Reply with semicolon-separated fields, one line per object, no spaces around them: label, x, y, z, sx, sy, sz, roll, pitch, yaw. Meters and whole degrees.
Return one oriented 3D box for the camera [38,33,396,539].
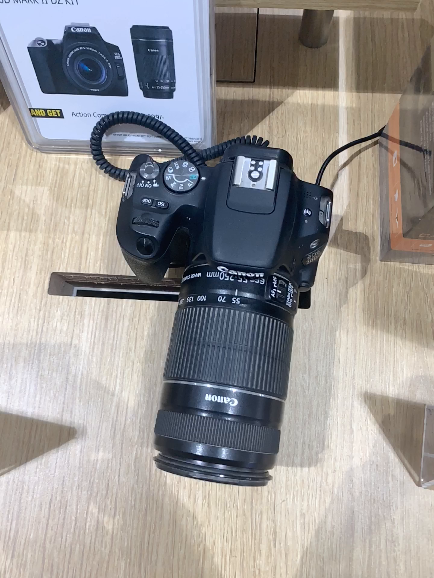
camera;0.011;-0.005;0.229;0.120;0.100;0.200;7;75;4
